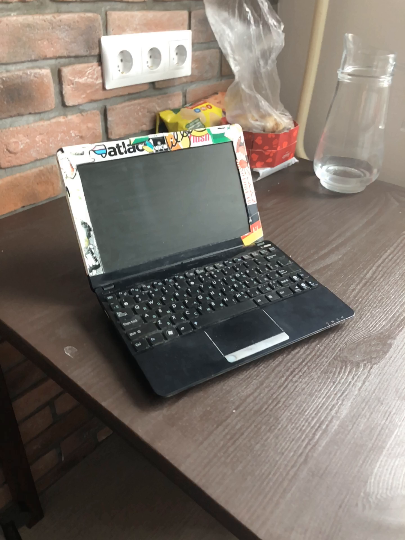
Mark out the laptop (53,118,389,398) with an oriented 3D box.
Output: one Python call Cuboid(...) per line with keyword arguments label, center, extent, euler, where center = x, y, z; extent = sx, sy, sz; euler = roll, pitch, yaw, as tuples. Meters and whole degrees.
Cuboid(label="laptop", center=(0.004, -0.049, 0.510), extent=(0.257, 0.139, 0.269), euler=(-16, 39, -26))
